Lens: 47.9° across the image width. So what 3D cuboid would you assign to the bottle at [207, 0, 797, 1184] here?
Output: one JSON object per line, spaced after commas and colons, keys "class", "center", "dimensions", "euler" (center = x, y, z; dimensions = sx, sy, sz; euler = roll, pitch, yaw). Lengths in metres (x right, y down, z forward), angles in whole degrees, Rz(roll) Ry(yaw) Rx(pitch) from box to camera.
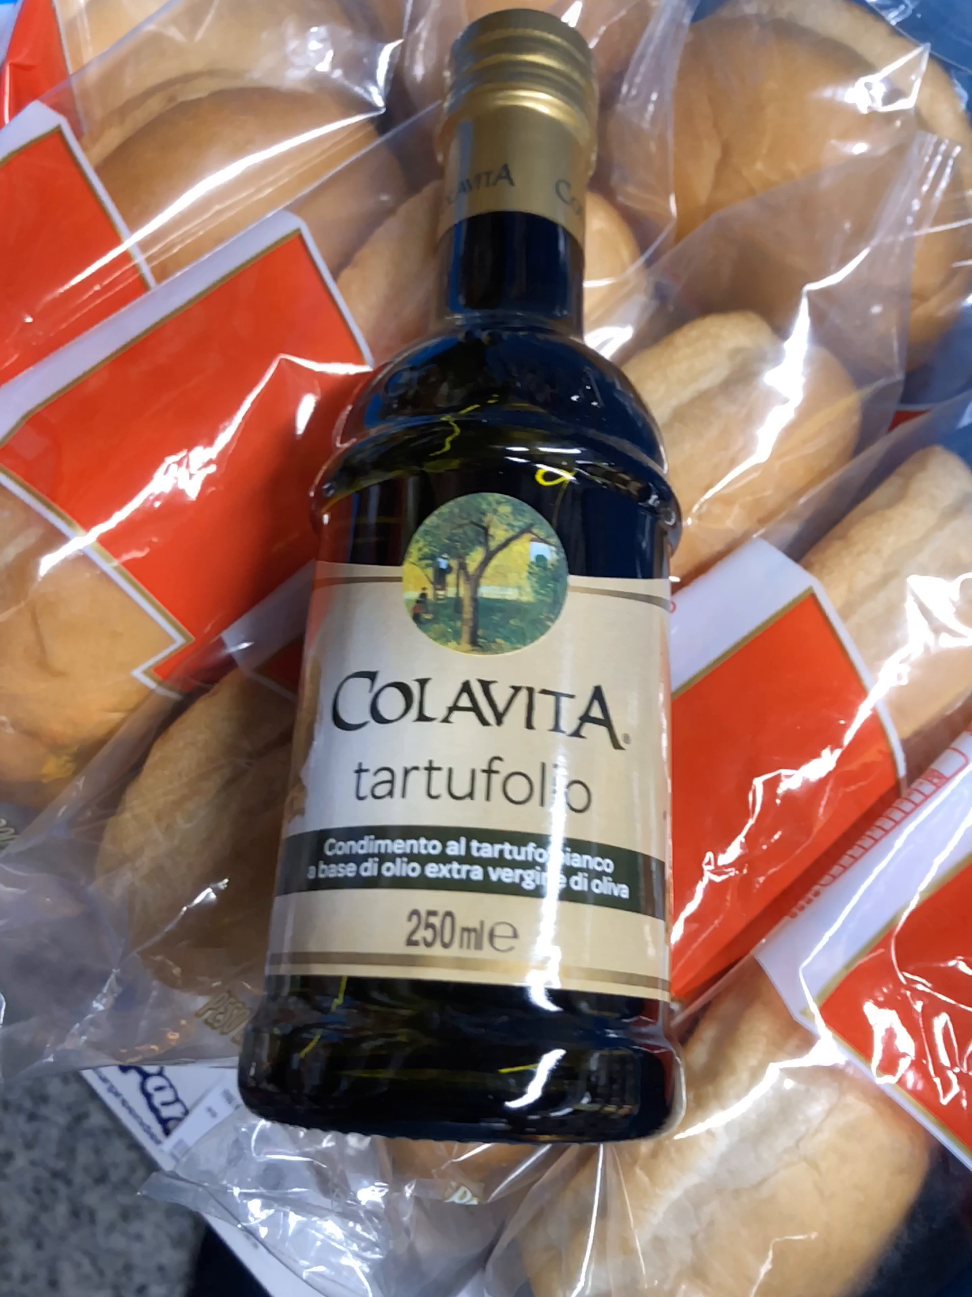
{"class": "bottle", "center": [0.006, -0.031, 0.187], "dimensions": [0.070, 0.060, 0.210], "euler": [1, 74, 3]}
